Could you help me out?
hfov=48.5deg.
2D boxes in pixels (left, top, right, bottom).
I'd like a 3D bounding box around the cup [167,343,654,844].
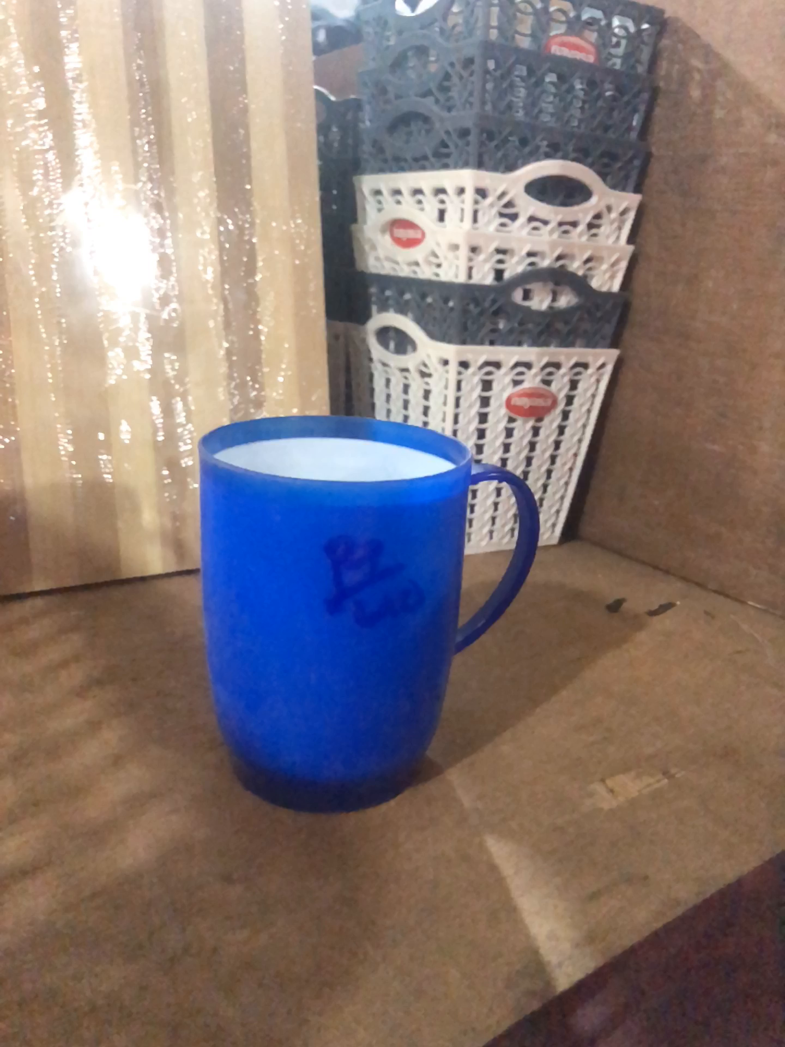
[{"bbox_3d":[0.001,0.010,0.250,0.110,0.110,0.070,-7,21,-27],"label":"cup"}]
